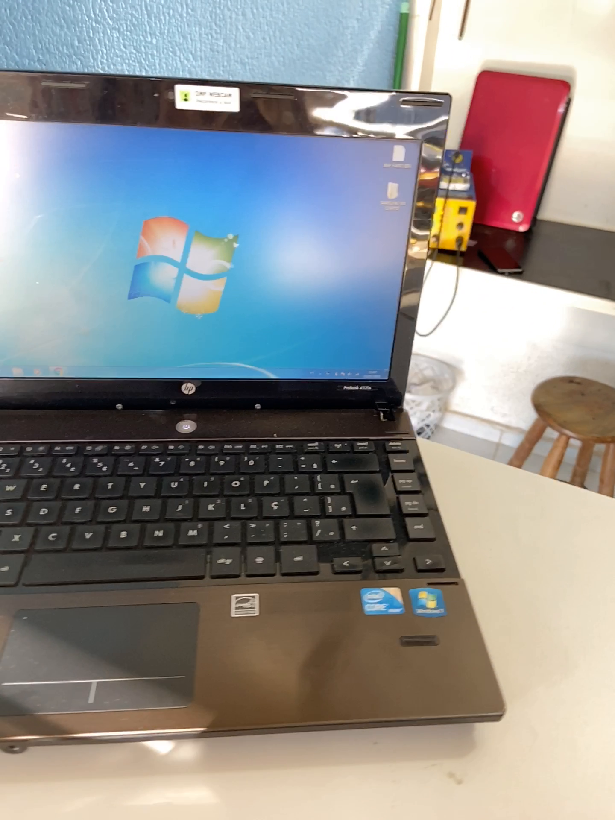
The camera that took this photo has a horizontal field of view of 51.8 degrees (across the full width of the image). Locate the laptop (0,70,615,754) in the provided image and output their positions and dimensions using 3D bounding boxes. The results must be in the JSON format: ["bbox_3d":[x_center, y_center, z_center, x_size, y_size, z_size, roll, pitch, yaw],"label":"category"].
[{"bbox_3d":[-0.072,-0.024,0.317,0.321,0.207,0.260,0,36,-4],"label":"laptop"}]
